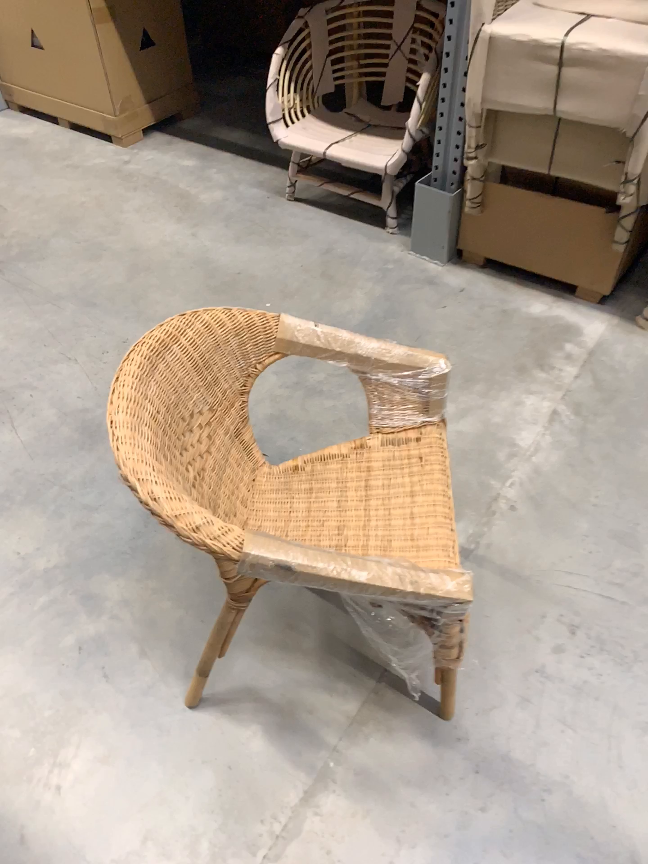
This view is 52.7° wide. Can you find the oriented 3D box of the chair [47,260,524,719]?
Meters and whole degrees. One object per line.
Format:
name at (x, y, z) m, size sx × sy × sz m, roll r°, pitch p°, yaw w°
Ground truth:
chair at (-0.036, 0.137, 1.368) m, size 0.650 × 0.757 × 0.602 m, roll 1°, pitch 46°, yaw 3°
